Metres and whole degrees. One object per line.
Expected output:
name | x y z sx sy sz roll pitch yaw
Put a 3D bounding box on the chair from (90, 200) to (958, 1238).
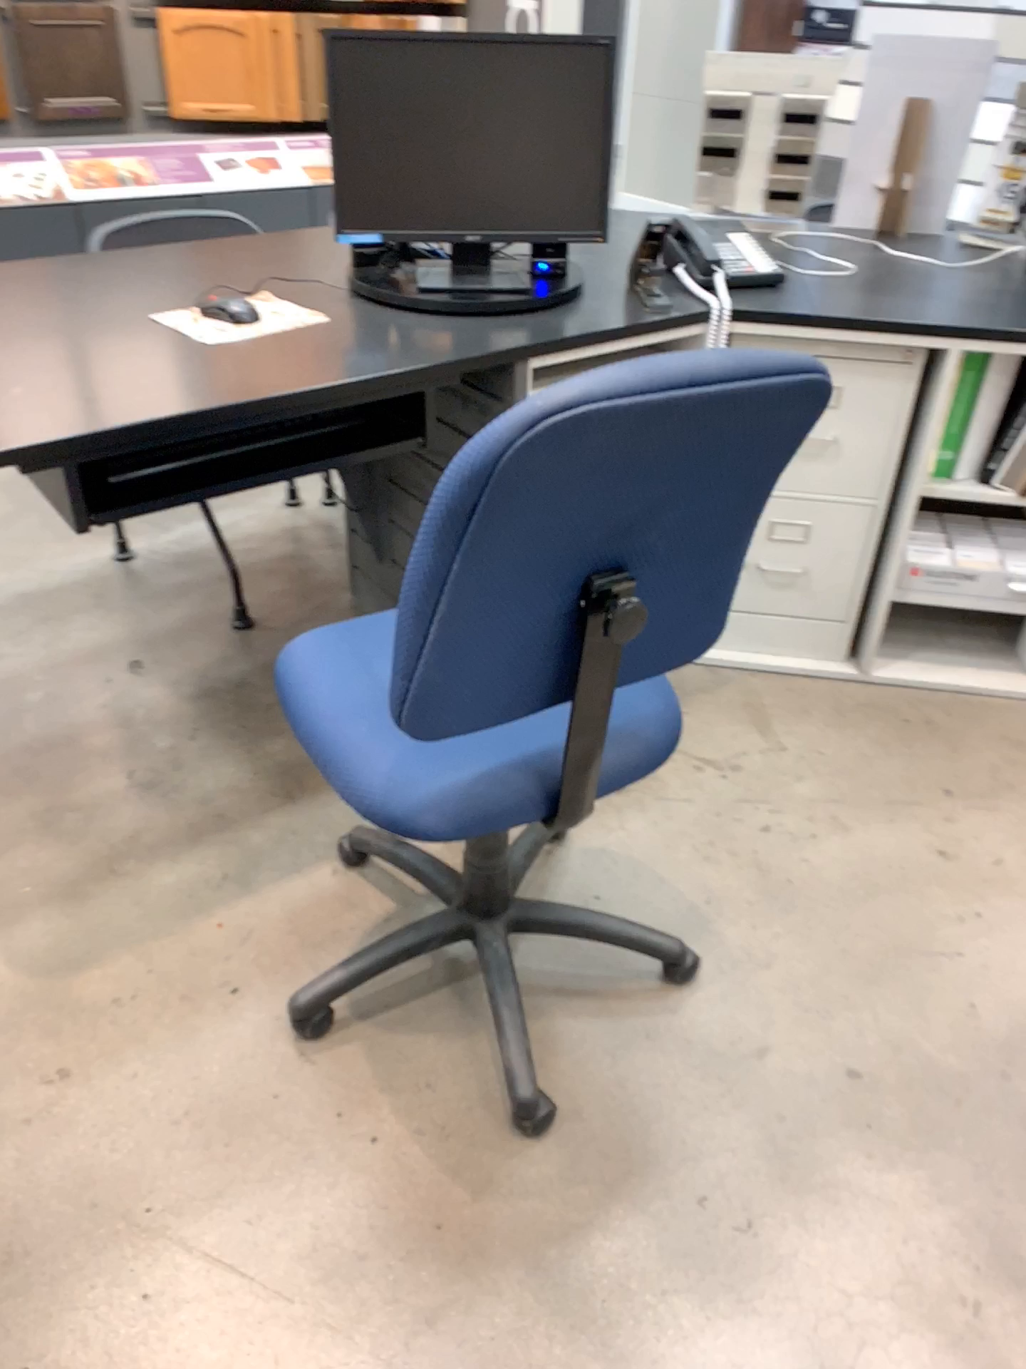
chair | -0.055 -0.004 1.374 0.659 1.035 0.695 -15 38 -25
